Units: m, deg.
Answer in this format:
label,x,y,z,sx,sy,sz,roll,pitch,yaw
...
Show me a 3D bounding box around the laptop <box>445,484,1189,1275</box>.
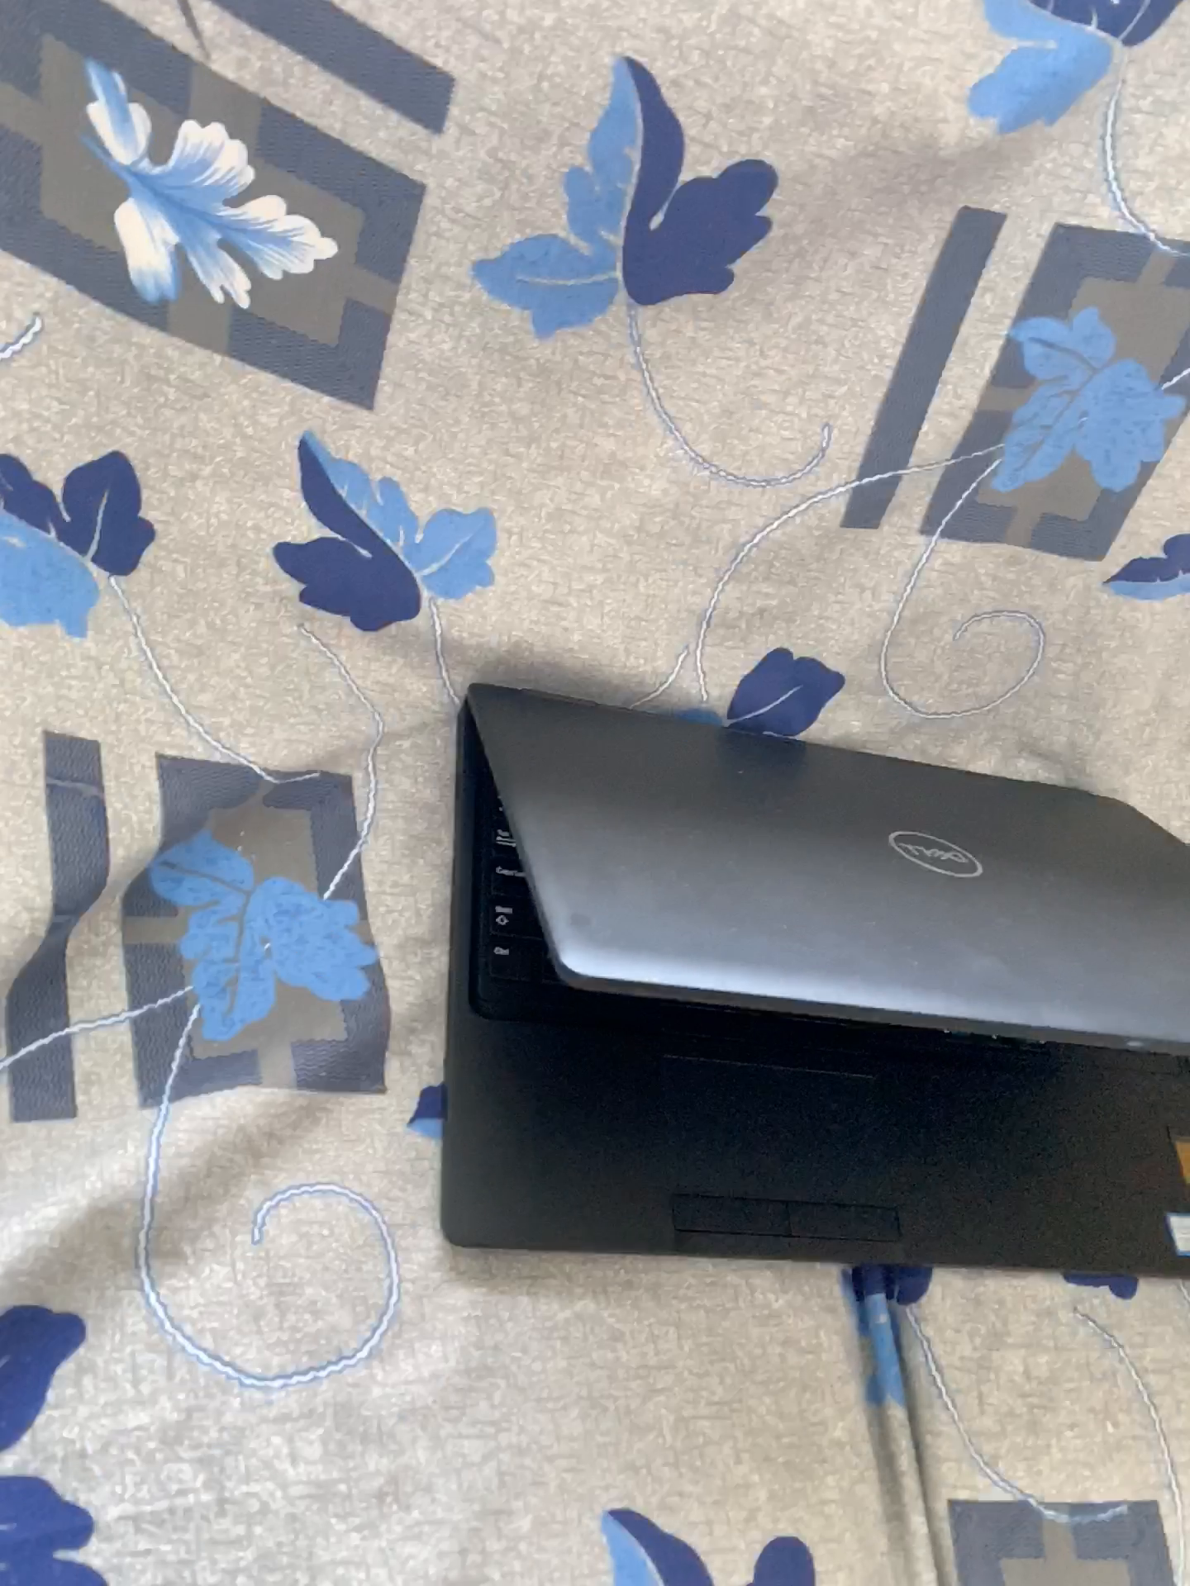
label,x,y,z,sx,sy,sz,roll,pitch,yaw
laptop,0.144,0.051,0.488,0.371,0.142,0.239,9,57,-17
